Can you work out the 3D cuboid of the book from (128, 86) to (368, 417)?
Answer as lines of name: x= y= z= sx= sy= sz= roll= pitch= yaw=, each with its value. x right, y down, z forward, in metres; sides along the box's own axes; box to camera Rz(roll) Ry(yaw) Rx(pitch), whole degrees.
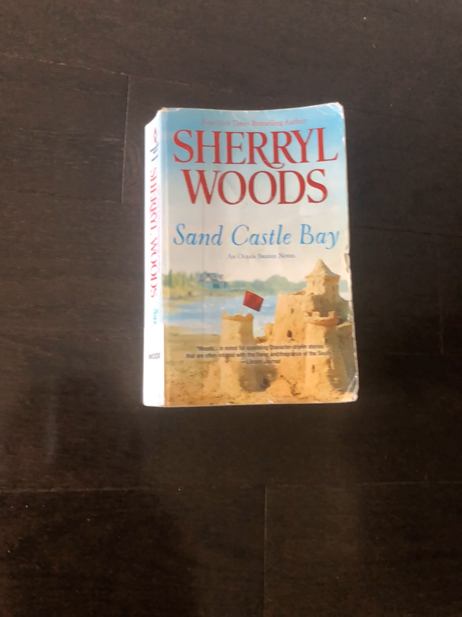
book: x=0.006 y=-0.028 z=0.275 sx=0.119 sy=0.037 sz=0.161 roll=0 pitch=85 yaw=-10
